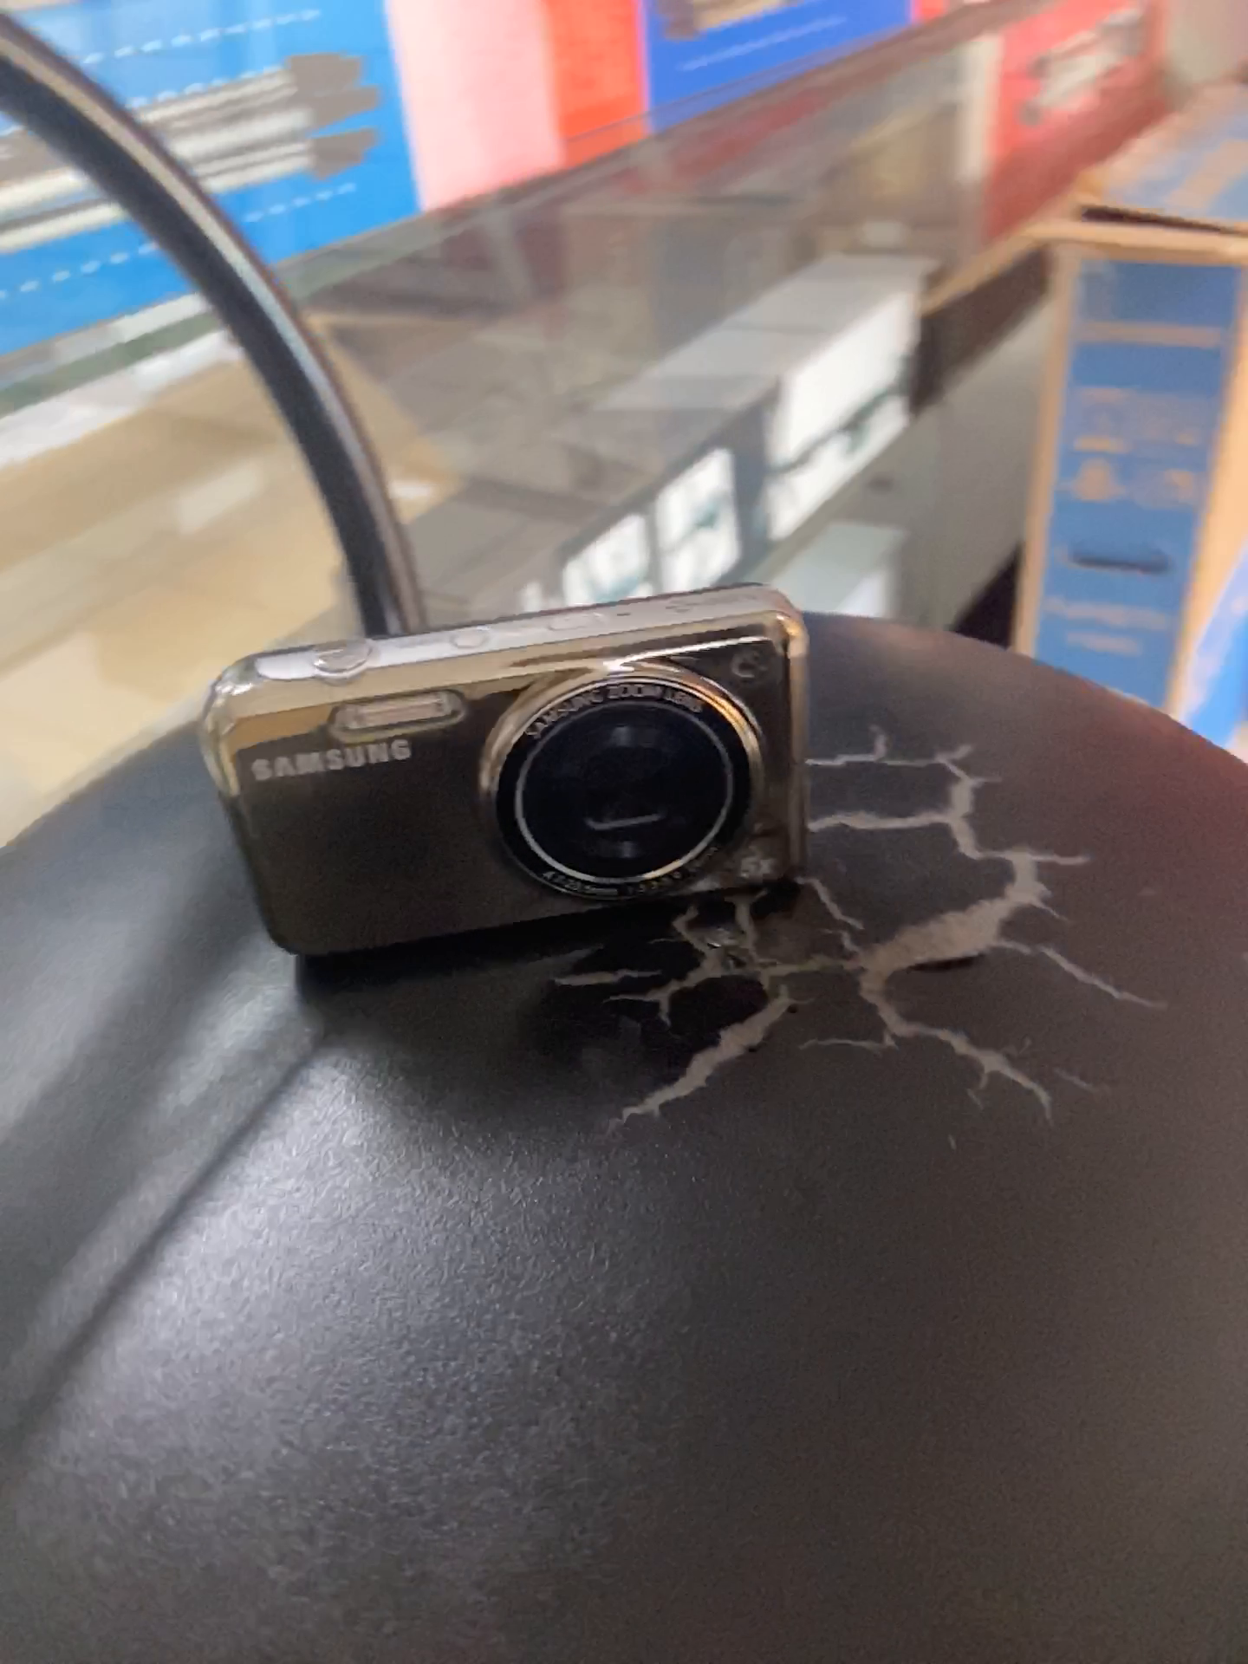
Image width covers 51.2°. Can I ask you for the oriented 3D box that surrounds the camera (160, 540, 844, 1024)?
[{"bbox_3d":[-0.016,-0.008,0.219,0.100,0.060,0.030,-9,37,-3],"label":"camera"}]
